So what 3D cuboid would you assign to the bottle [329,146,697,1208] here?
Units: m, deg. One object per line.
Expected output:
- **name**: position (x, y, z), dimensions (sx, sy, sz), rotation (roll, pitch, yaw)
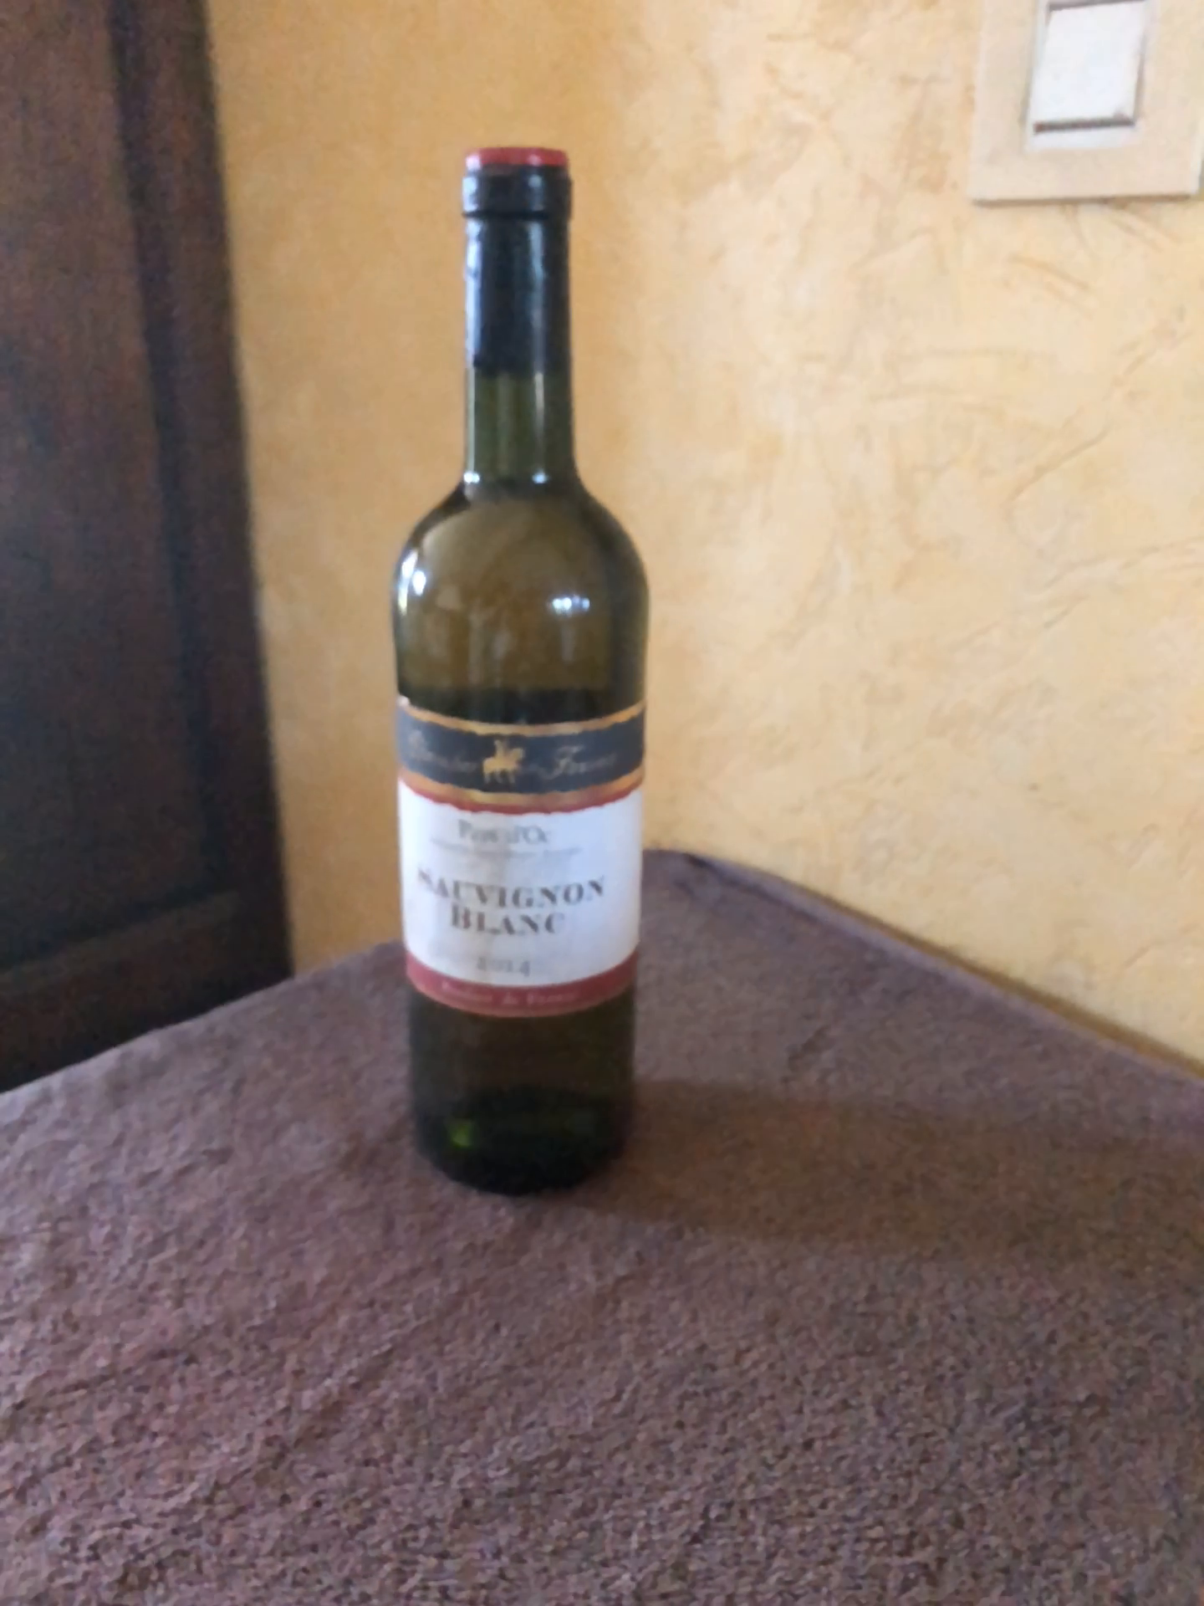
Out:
- **bottle**: position (-0.019, -0.030, 0.397), dimensions (0.080, 0.289, 0.080), rotation (0, 20, 0)
